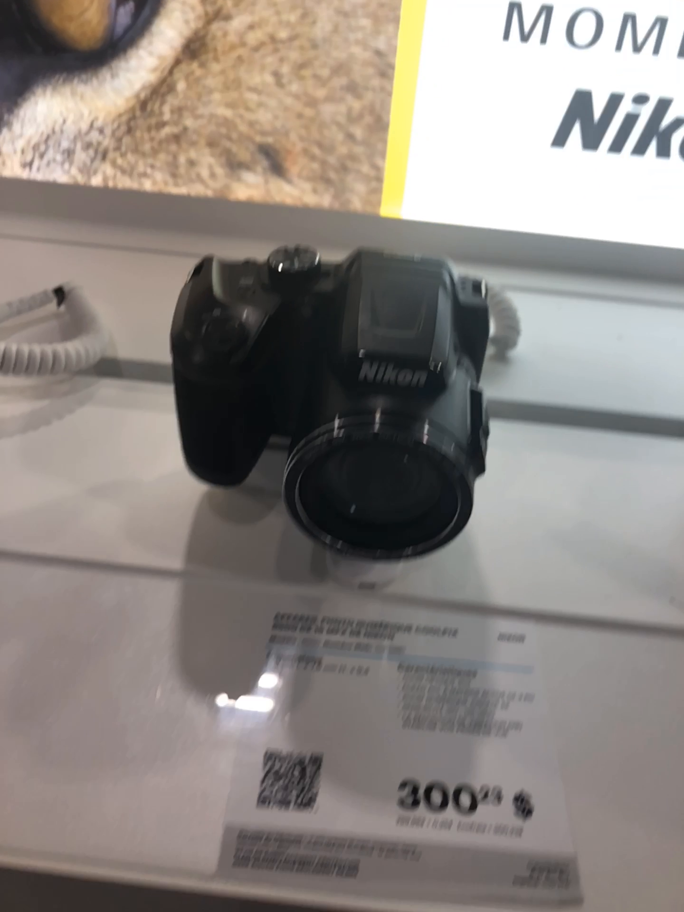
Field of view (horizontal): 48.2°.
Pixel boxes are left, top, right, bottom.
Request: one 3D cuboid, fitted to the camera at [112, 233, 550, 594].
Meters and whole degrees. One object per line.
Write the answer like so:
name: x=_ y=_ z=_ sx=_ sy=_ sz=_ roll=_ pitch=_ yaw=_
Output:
camera: x=-0.002 y=-0.017 z=0.246 sx=0.111 sy=0.069 sz=0.085 roll=6 pitch=38 yaw=2
